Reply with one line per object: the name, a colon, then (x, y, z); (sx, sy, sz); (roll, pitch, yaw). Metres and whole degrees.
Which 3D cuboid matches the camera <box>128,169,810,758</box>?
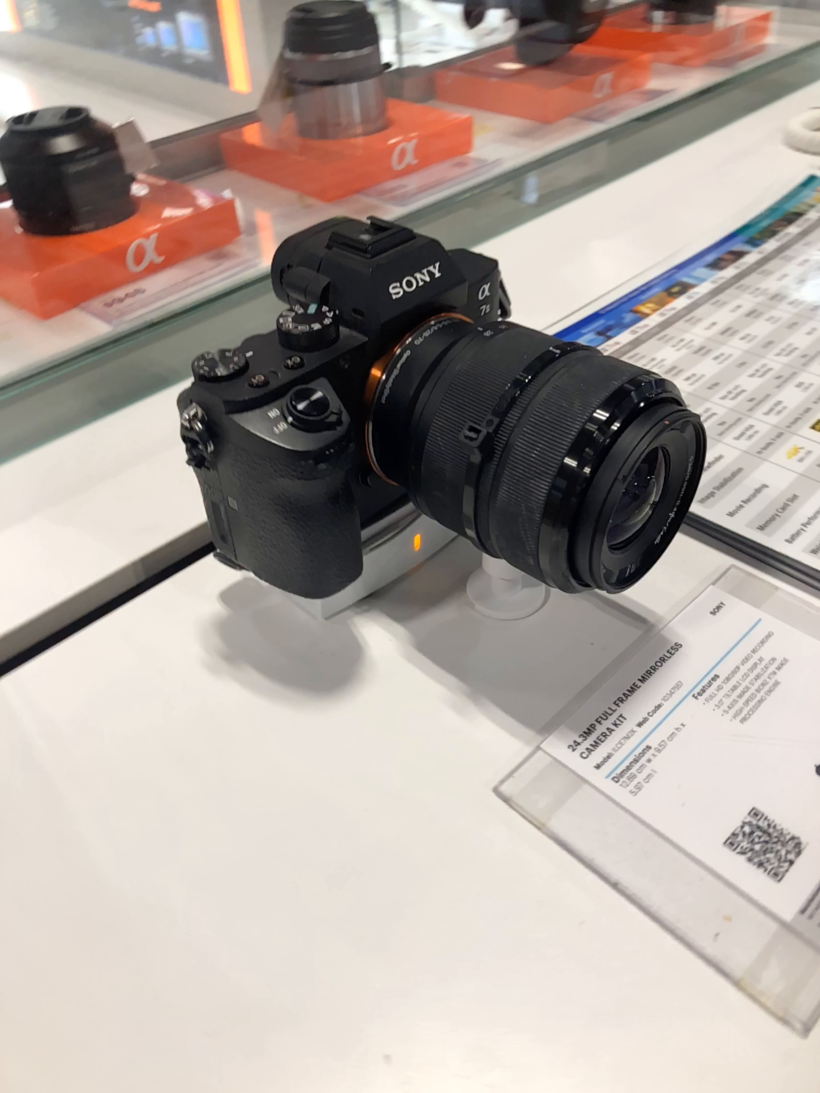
camera: (0.018, -0.040, 0.283); (0.141, 0.089, 0.130); (29, 50, 32)
